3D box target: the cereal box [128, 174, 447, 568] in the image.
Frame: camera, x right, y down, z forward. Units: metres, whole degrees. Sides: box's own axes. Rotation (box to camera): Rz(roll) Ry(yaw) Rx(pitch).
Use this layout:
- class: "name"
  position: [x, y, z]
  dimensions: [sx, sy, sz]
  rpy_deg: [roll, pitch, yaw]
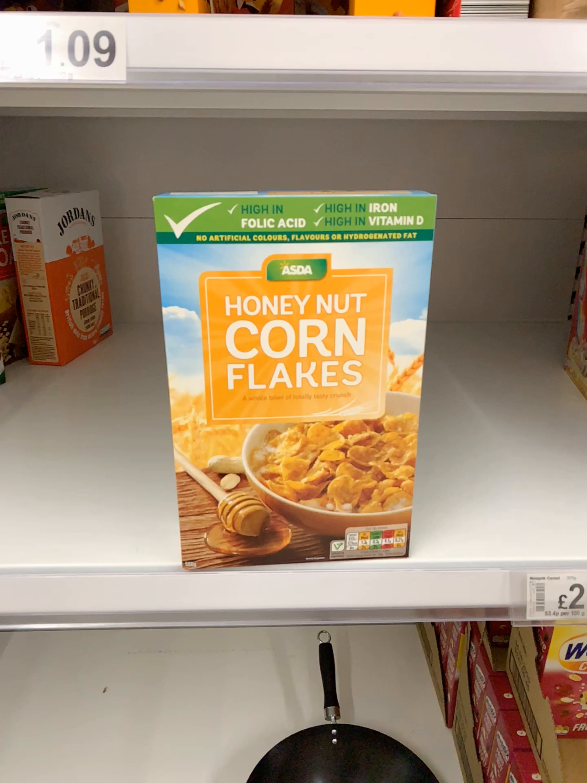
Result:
- class: "cereal box"
  position: [-0.005, -0.011, 0.460]
  dimensions: [0.200, 0.288, 0.071]
  rpy_deg: [-1, 21, -5]
